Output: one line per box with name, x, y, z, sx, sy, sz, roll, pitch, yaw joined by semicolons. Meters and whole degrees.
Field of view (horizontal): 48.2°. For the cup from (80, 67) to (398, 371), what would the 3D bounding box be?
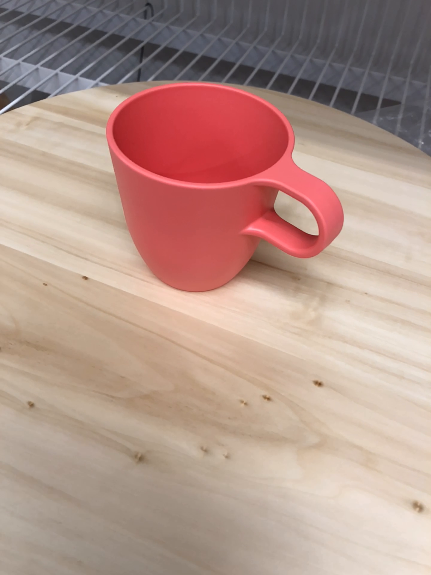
cup;0.008;-0.038;0.234;0.110;0.080;0.080;32;52;22
